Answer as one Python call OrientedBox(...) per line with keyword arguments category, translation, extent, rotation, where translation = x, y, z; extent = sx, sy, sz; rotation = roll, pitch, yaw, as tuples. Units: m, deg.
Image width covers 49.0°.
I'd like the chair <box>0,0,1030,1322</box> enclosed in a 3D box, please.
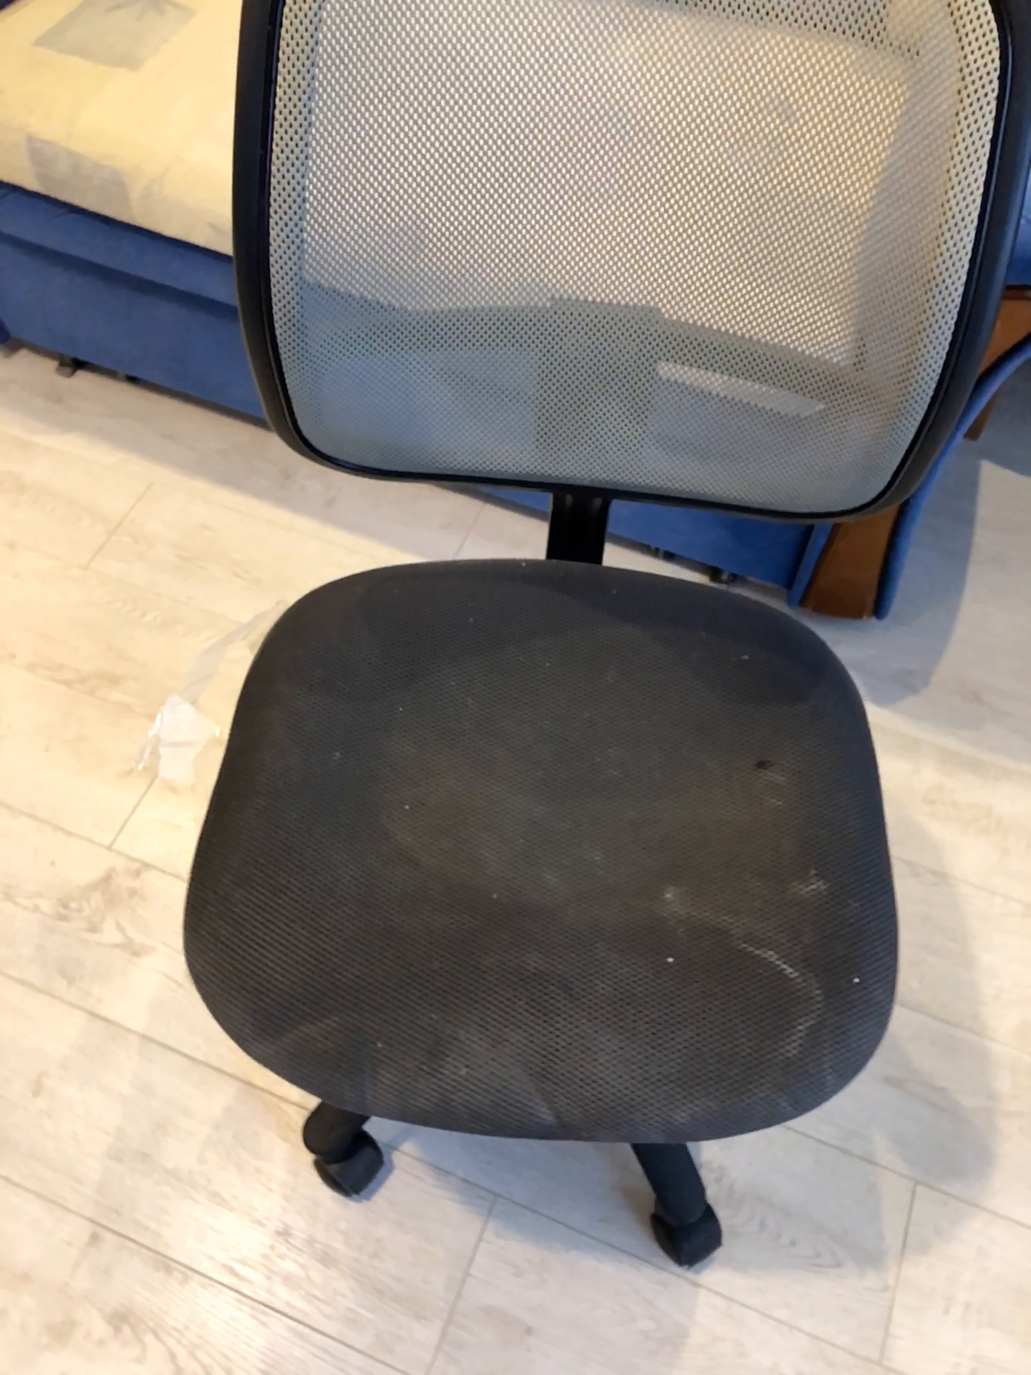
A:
OrientedBox(category="chair", translation=(0.004, 0.010, 0.690), extent=(0.660, 0.736, 0.513), rotation=(8, 57, 5))
